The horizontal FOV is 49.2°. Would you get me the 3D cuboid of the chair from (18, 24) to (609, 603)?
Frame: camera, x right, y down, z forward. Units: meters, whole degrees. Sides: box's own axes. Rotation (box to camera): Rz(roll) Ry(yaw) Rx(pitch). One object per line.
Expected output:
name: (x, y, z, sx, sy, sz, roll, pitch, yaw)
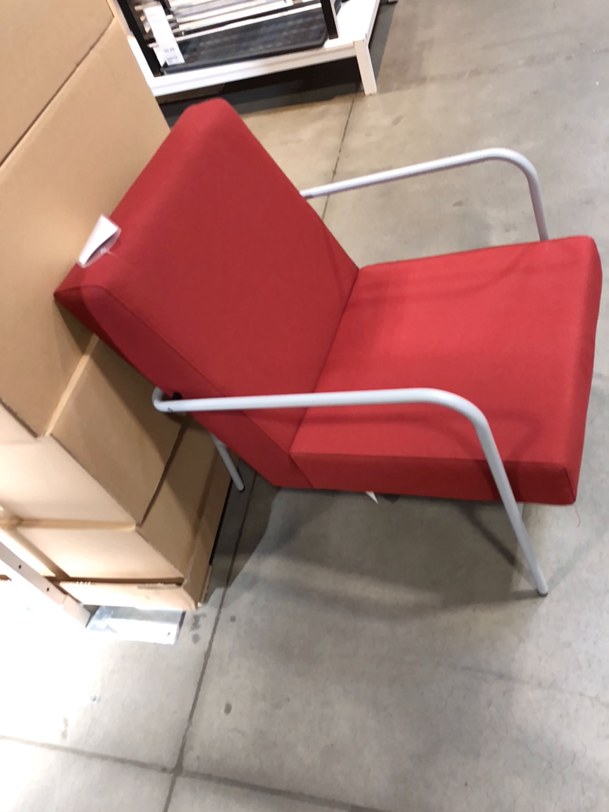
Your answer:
chair: (0.120, -0.140, 1.252, 0.762, 0.707, 0.631, 5, 54, 24)
